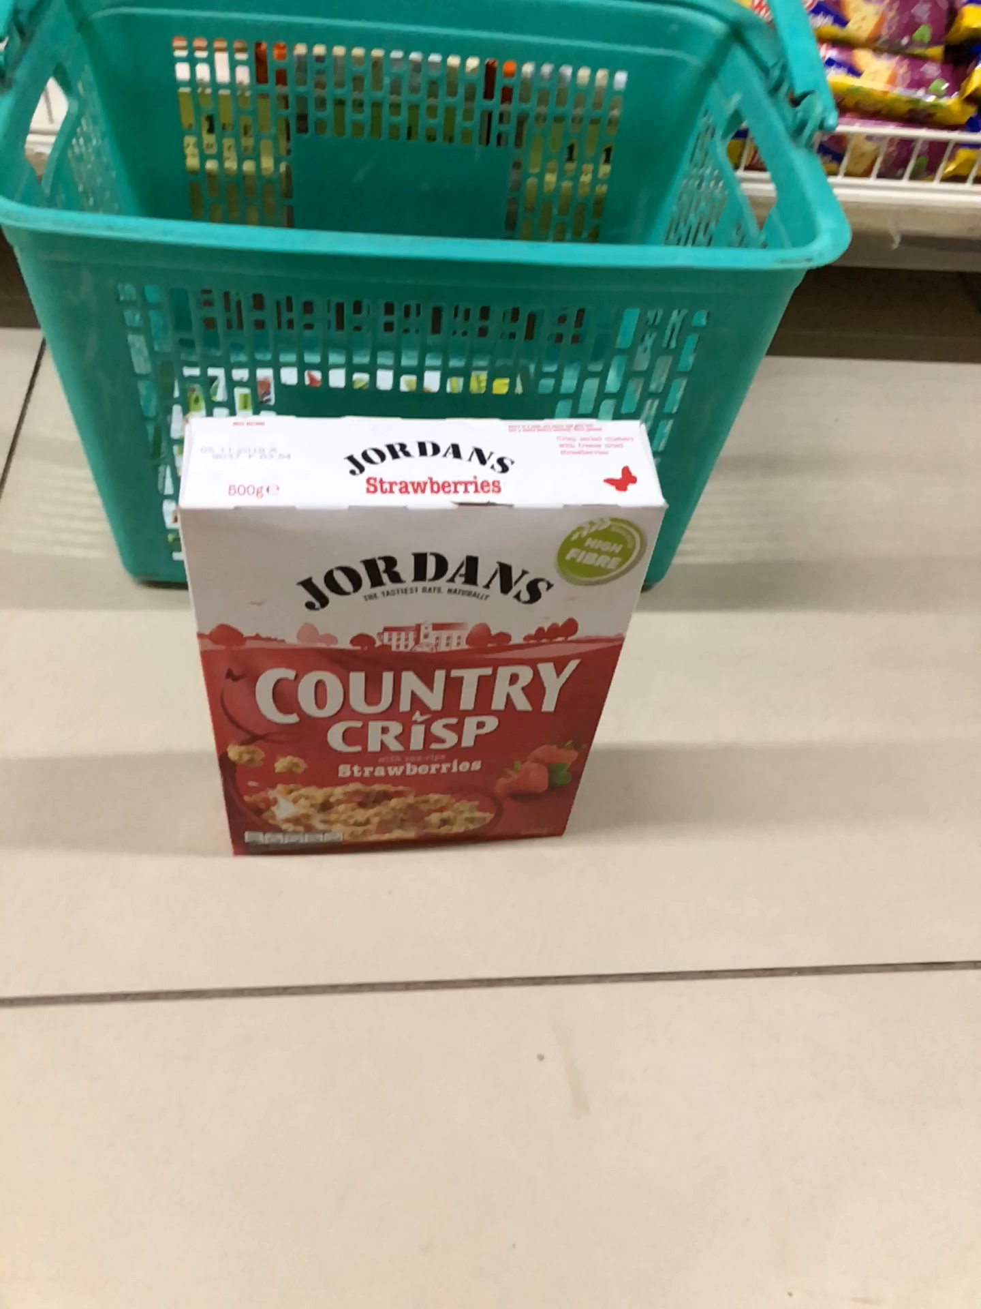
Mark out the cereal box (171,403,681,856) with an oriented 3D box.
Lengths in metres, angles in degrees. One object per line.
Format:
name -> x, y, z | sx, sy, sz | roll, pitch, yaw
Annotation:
cereal box -> -0.035, 0.003, 0.491 | 0.180, 0.249, 0.050 | -2, 51, -9
